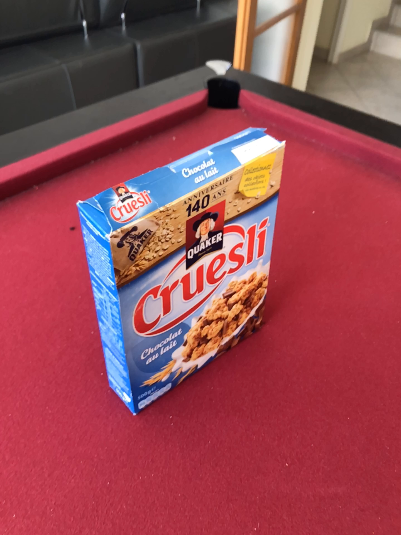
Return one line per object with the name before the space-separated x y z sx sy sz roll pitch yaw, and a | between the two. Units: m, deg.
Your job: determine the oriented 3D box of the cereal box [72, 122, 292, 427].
cereal box | -0.011 0.015 0.439 0.191 0.258 0.050 -32 53 -33
